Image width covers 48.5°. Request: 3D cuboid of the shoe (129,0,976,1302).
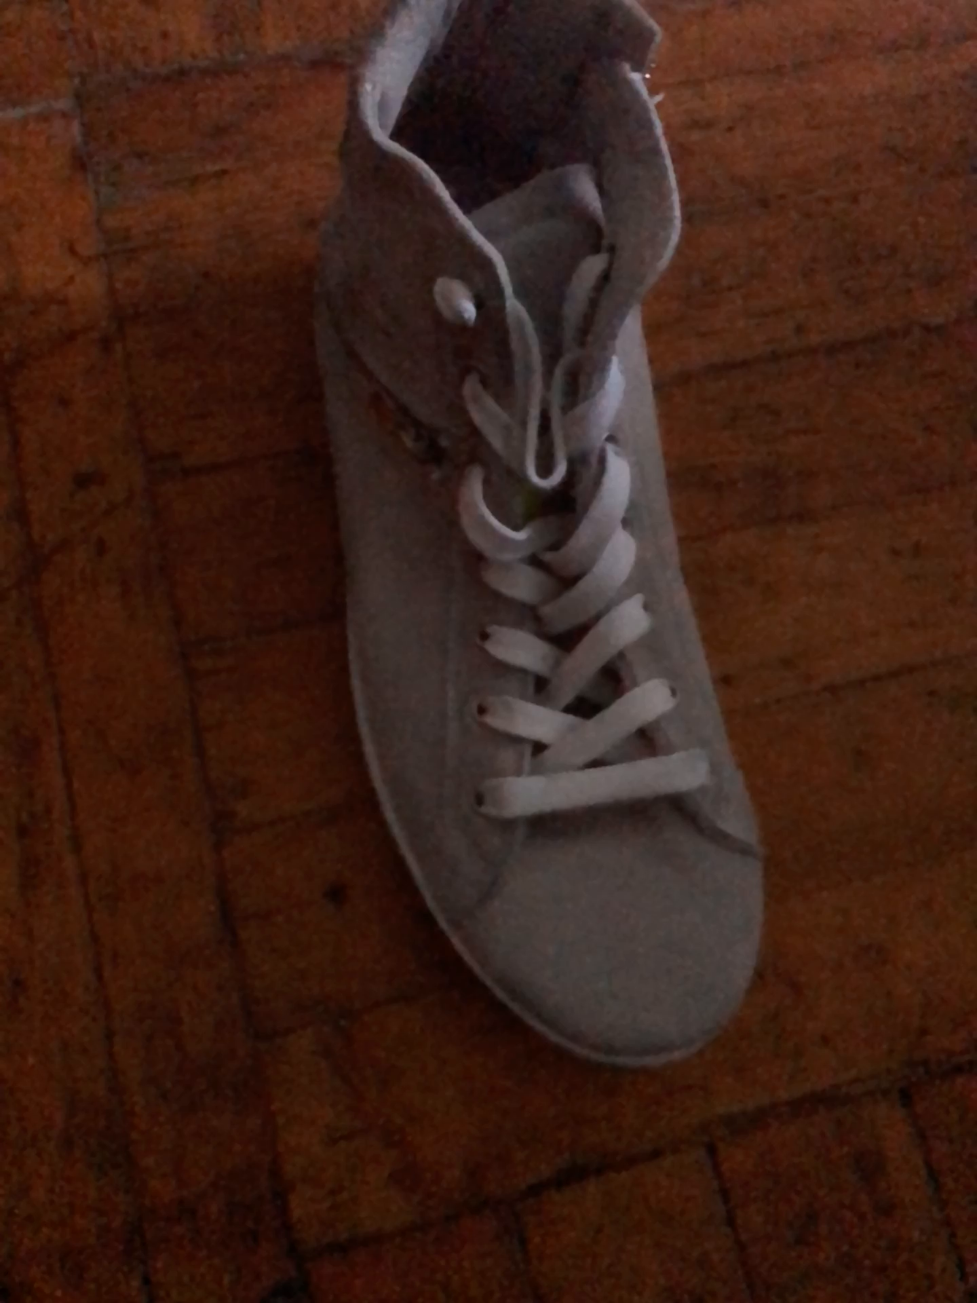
[{"bbox_3d":[0.014,-0.021,0.308,0.130,0.220,0.310,-10,75,-1],"label":"shoe"}]
